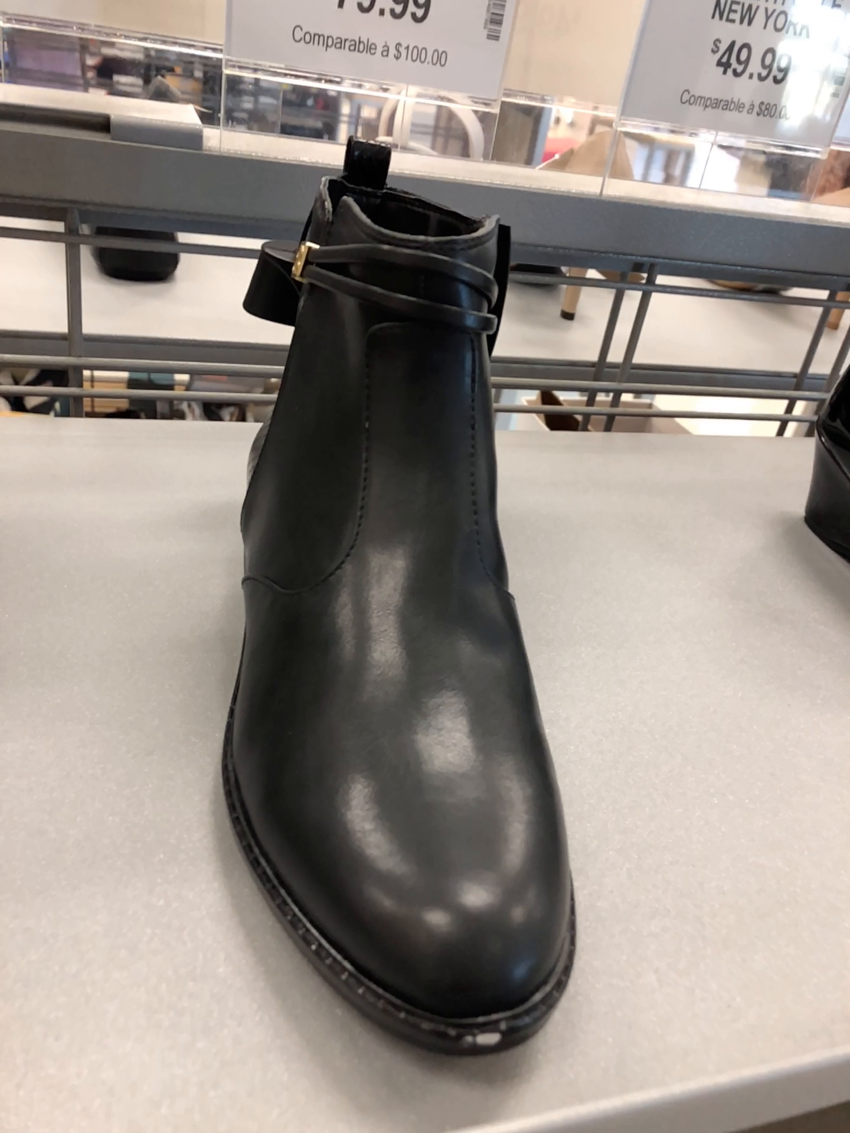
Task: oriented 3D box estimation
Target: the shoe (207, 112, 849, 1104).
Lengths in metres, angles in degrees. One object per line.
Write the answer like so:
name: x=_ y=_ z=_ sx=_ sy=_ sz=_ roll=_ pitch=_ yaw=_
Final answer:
shoe: x=-0.006 y=-0.018 z=0.256 sx=0.090 sy=0.149 sz=0.232 roll=1 pitch=33 yaw=-16
